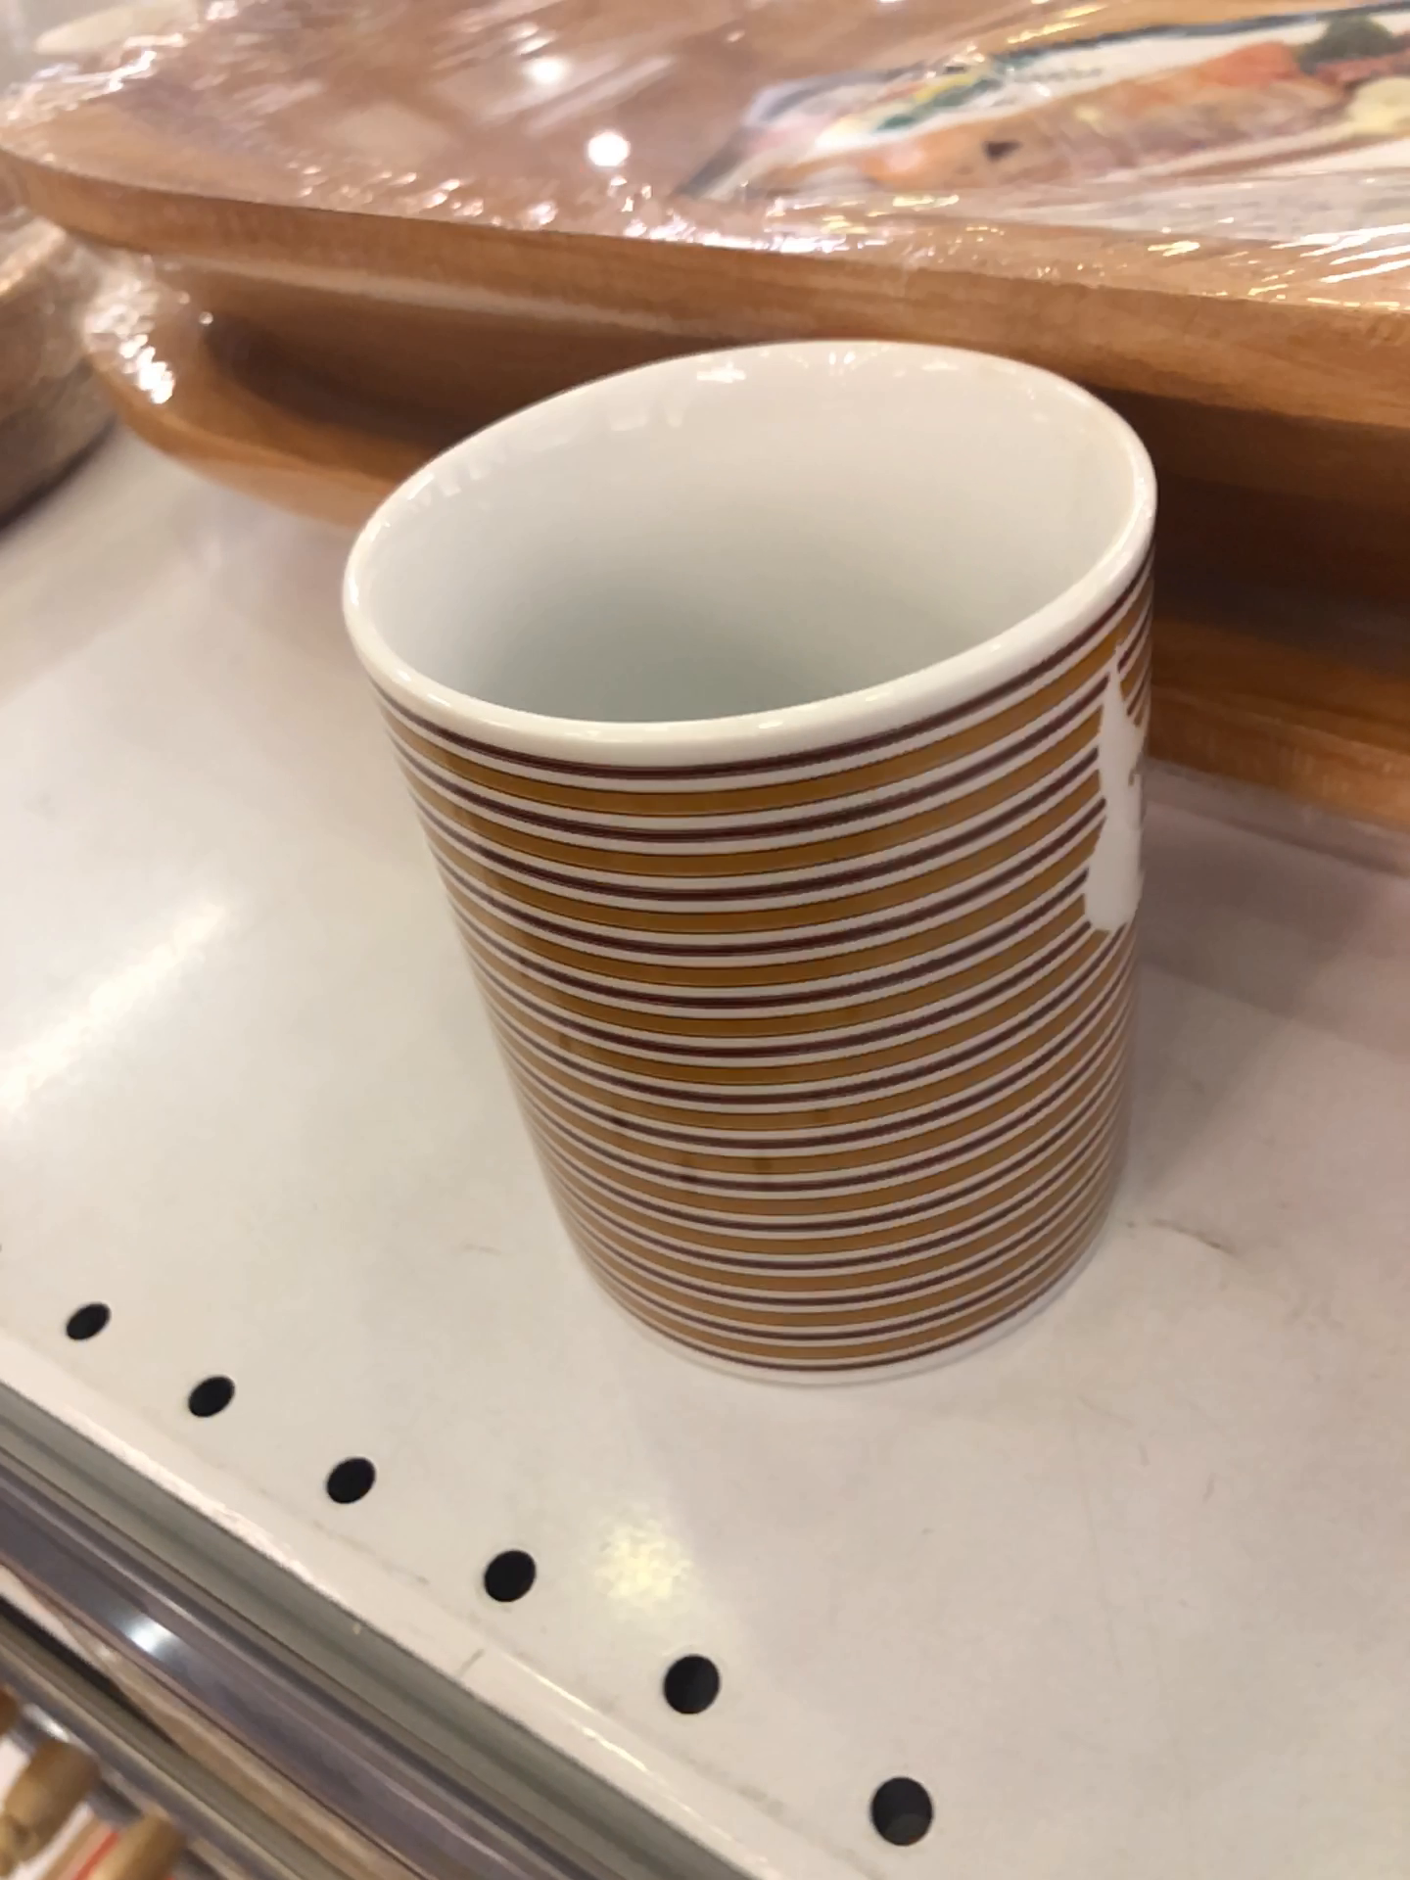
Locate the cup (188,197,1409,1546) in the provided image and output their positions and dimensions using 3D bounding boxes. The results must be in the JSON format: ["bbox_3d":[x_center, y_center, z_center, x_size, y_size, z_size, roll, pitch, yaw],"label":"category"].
[{"bbox_3d":[0.005,-0.019,0.195,0.090,0.089,0.121,-22,41,-11],"label":"cup"}]
